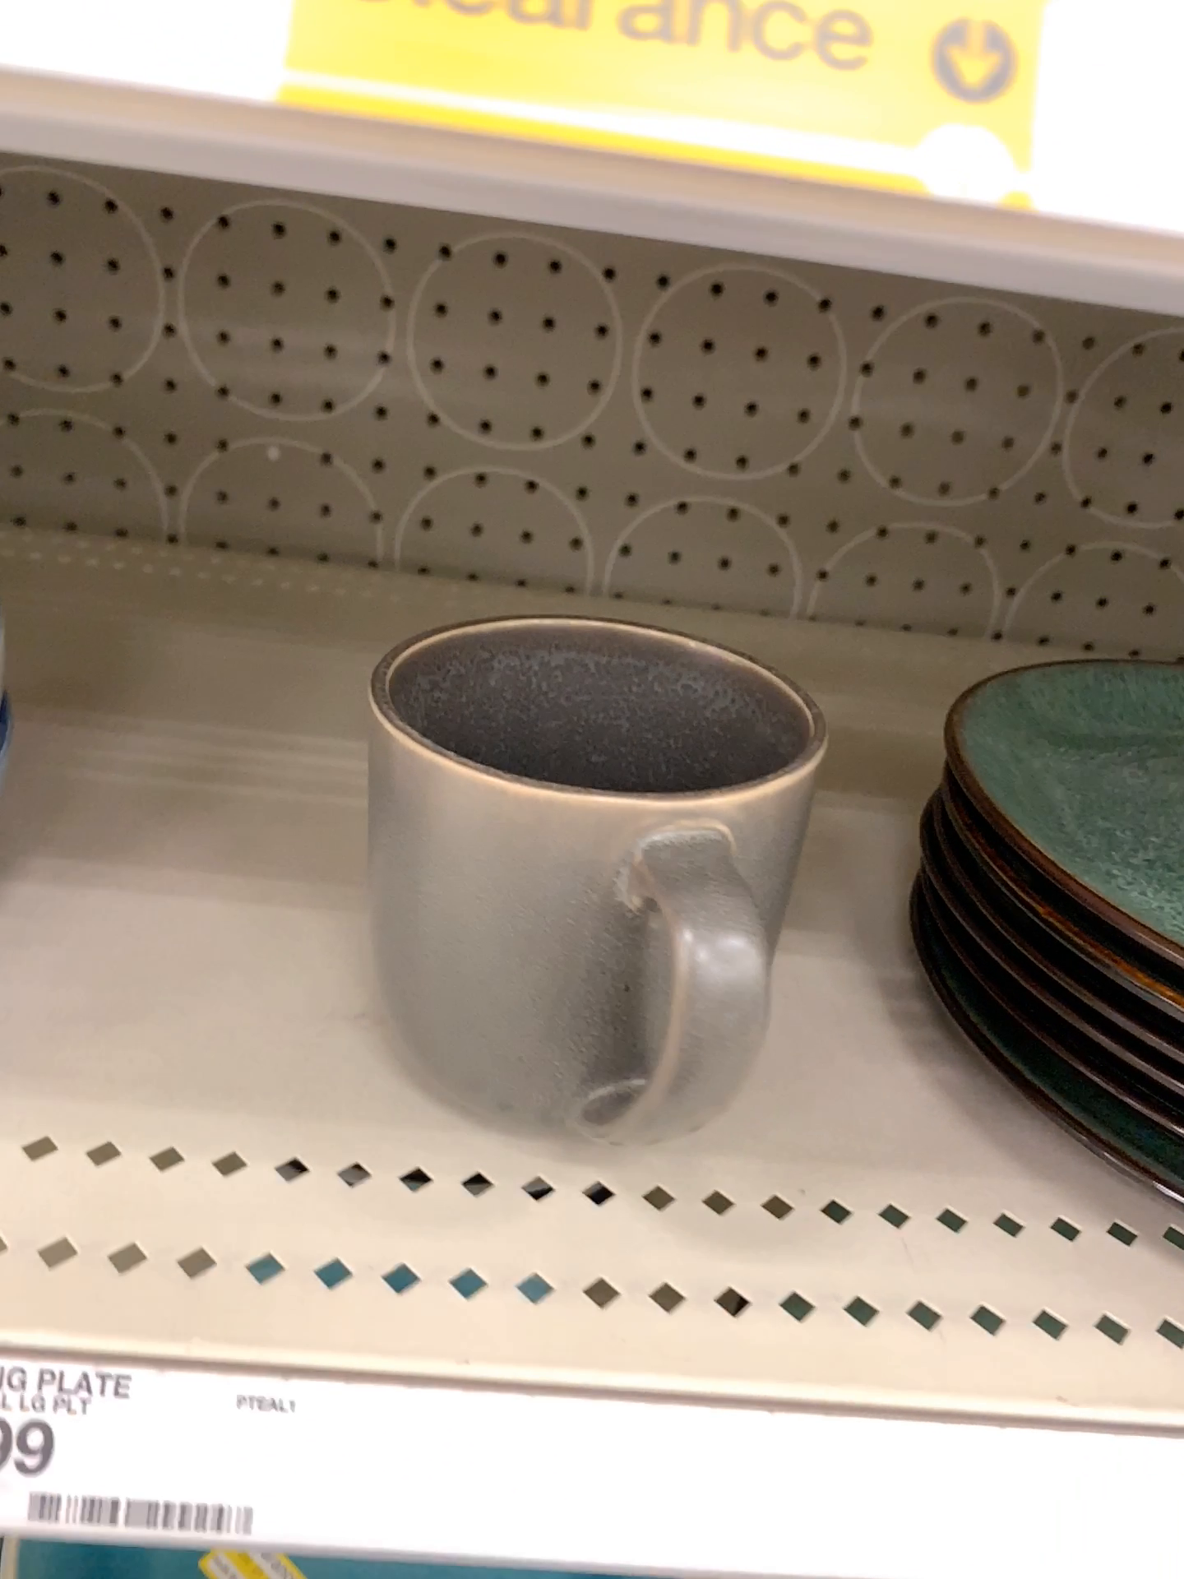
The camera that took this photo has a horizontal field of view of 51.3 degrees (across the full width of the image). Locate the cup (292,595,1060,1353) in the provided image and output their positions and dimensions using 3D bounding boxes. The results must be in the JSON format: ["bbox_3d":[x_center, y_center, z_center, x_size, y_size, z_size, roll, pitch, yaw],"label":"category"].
[{"bbox_3d":[0.001,0.022,0.253,0.100,0.080,0.131,-4,30,-23],"label":"cup"}]
